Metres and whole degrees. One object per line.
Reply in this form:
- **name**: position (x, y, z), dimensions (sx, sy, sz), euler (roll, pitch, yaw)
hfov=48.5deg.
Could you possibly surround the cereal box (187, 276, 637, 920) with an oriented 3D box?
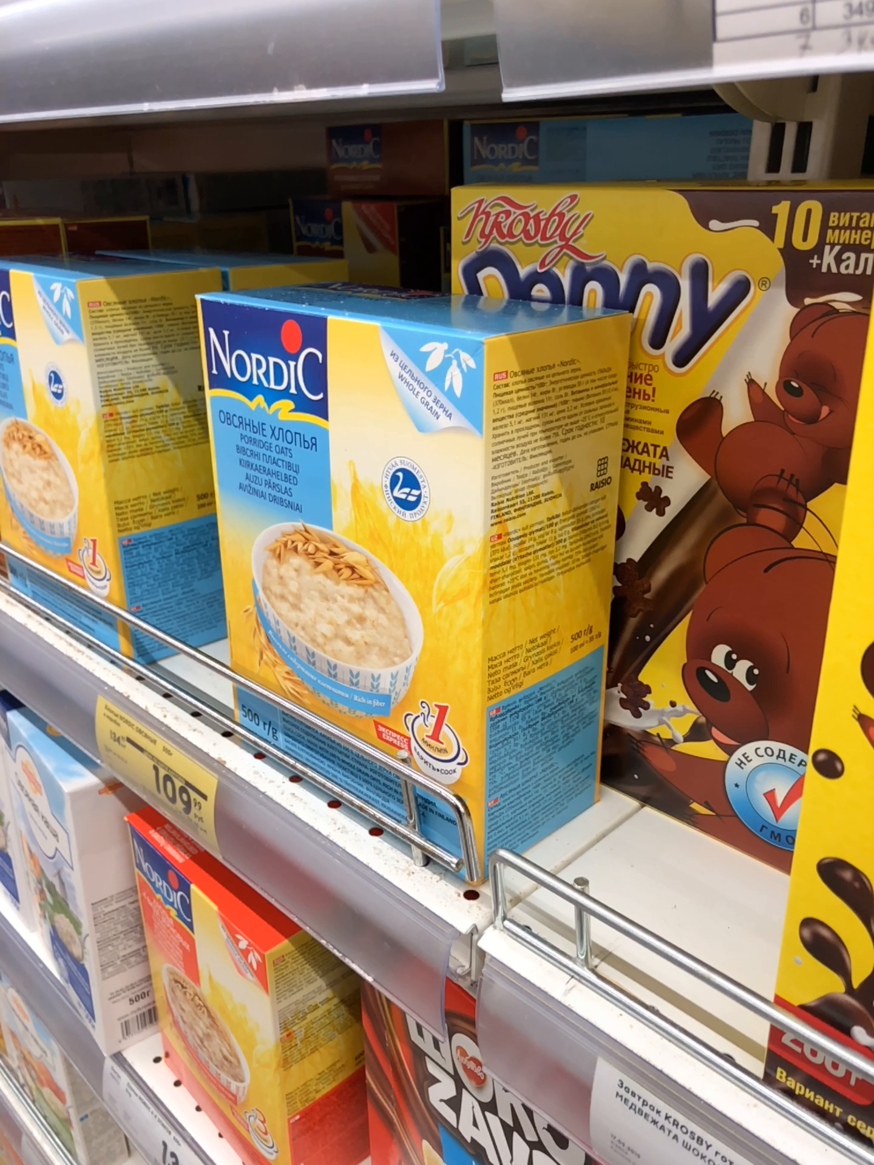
- **cereal box**: position (-0.014, -0.006, 0.369), dimensions (0.070, 0.199, 0.150), euler (-21, 30, -40)
